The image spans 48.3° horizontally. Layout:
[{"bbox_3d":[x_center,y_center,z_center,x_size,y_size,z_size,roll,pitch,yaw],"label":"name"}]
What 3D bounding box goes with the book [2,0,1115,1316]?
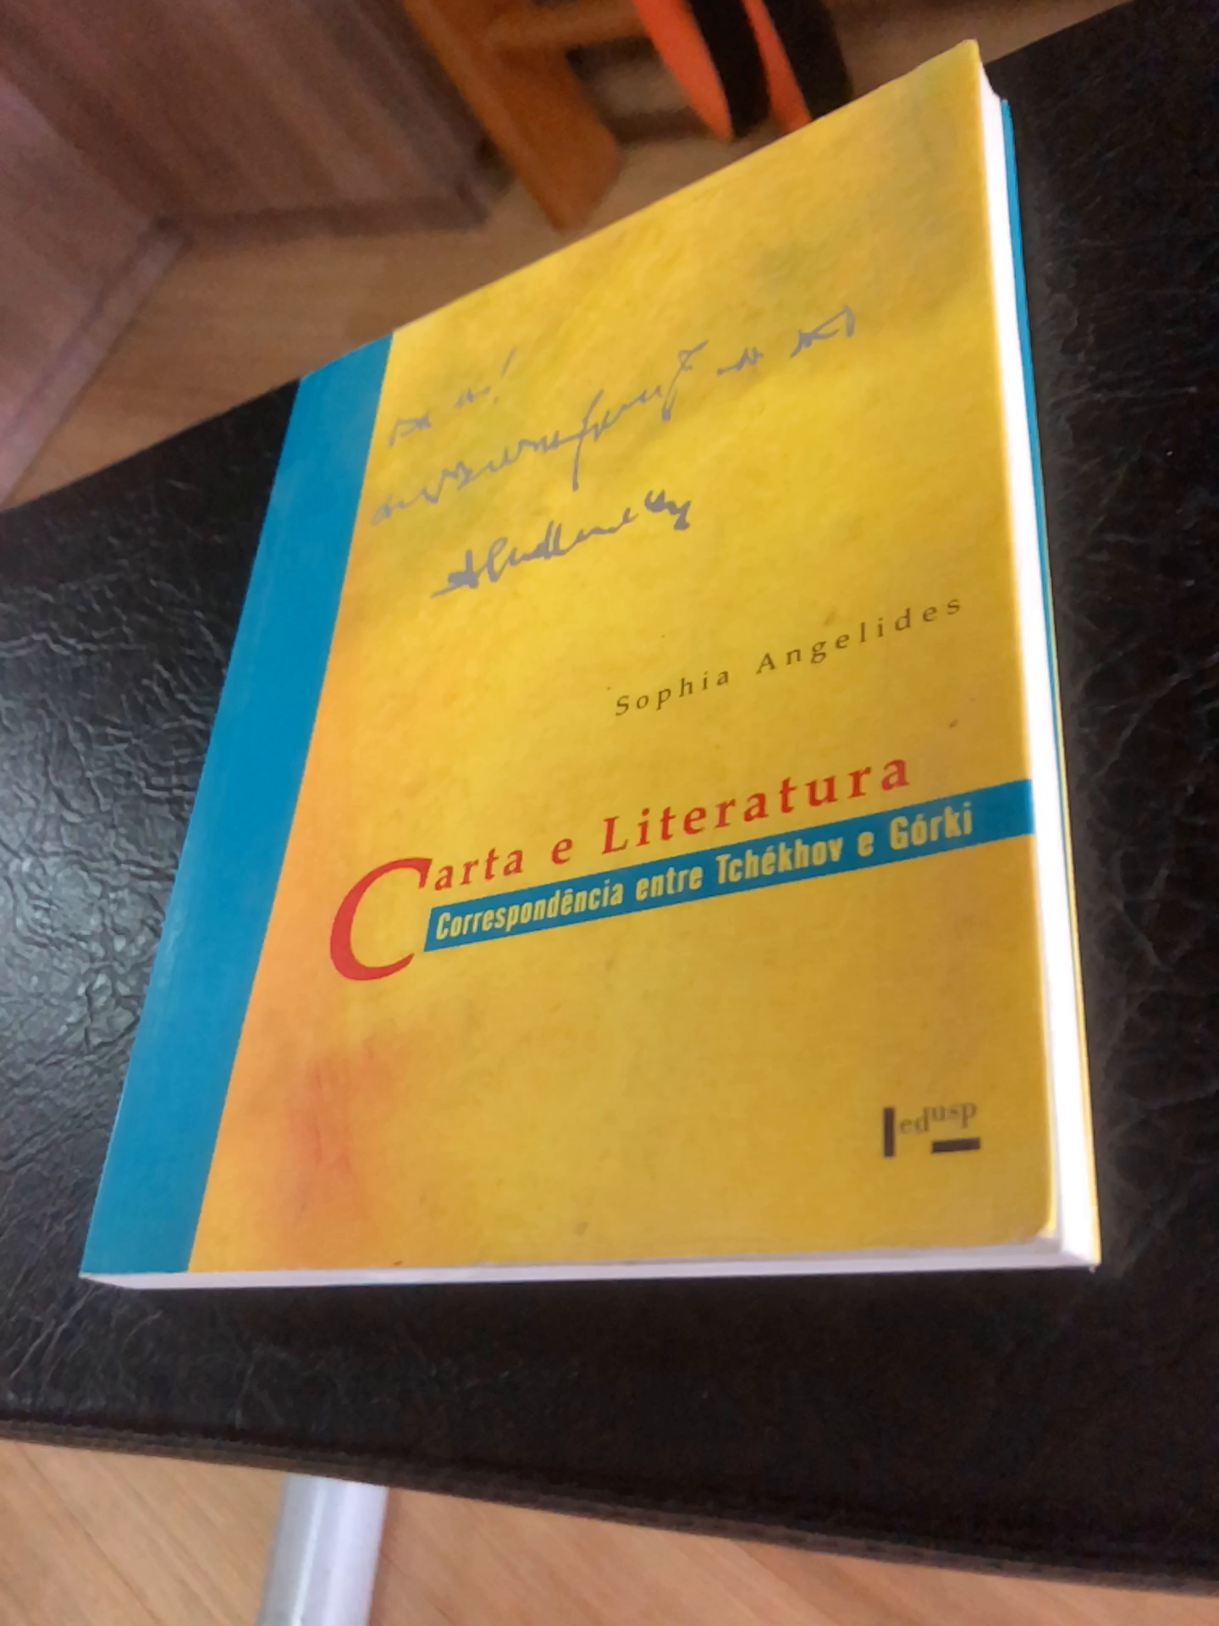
[{"bbox_3d":[-0.014,-0.025,0.234,0.173,0.024,0.208,-13,57,32],"label":"book"}]
